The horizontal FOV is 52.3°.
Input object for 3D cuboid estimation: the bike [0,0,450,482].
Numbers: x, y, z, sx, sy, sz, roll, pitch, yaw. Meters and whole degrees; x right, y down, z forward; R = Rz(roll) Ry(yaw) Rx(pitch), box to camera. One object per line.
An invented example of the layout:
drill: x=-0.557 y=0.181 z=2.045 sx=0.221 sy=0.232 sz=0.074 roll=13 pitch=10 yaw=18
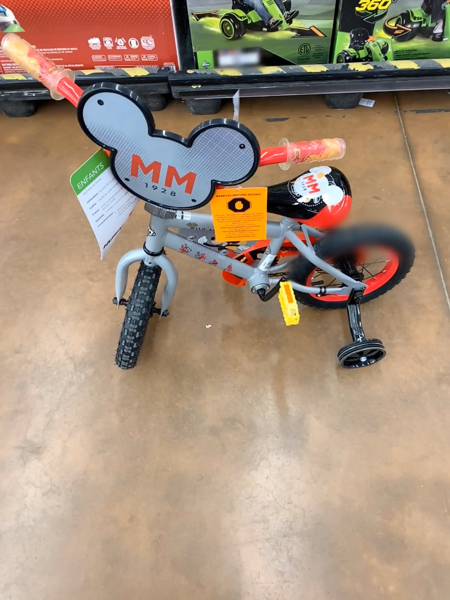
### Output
bike: x=0.079 y=-0.085 z=0.876 sx=0.678 sy=0.742 sz=0.450 roll=-19 pitch=57 yaw=-6
